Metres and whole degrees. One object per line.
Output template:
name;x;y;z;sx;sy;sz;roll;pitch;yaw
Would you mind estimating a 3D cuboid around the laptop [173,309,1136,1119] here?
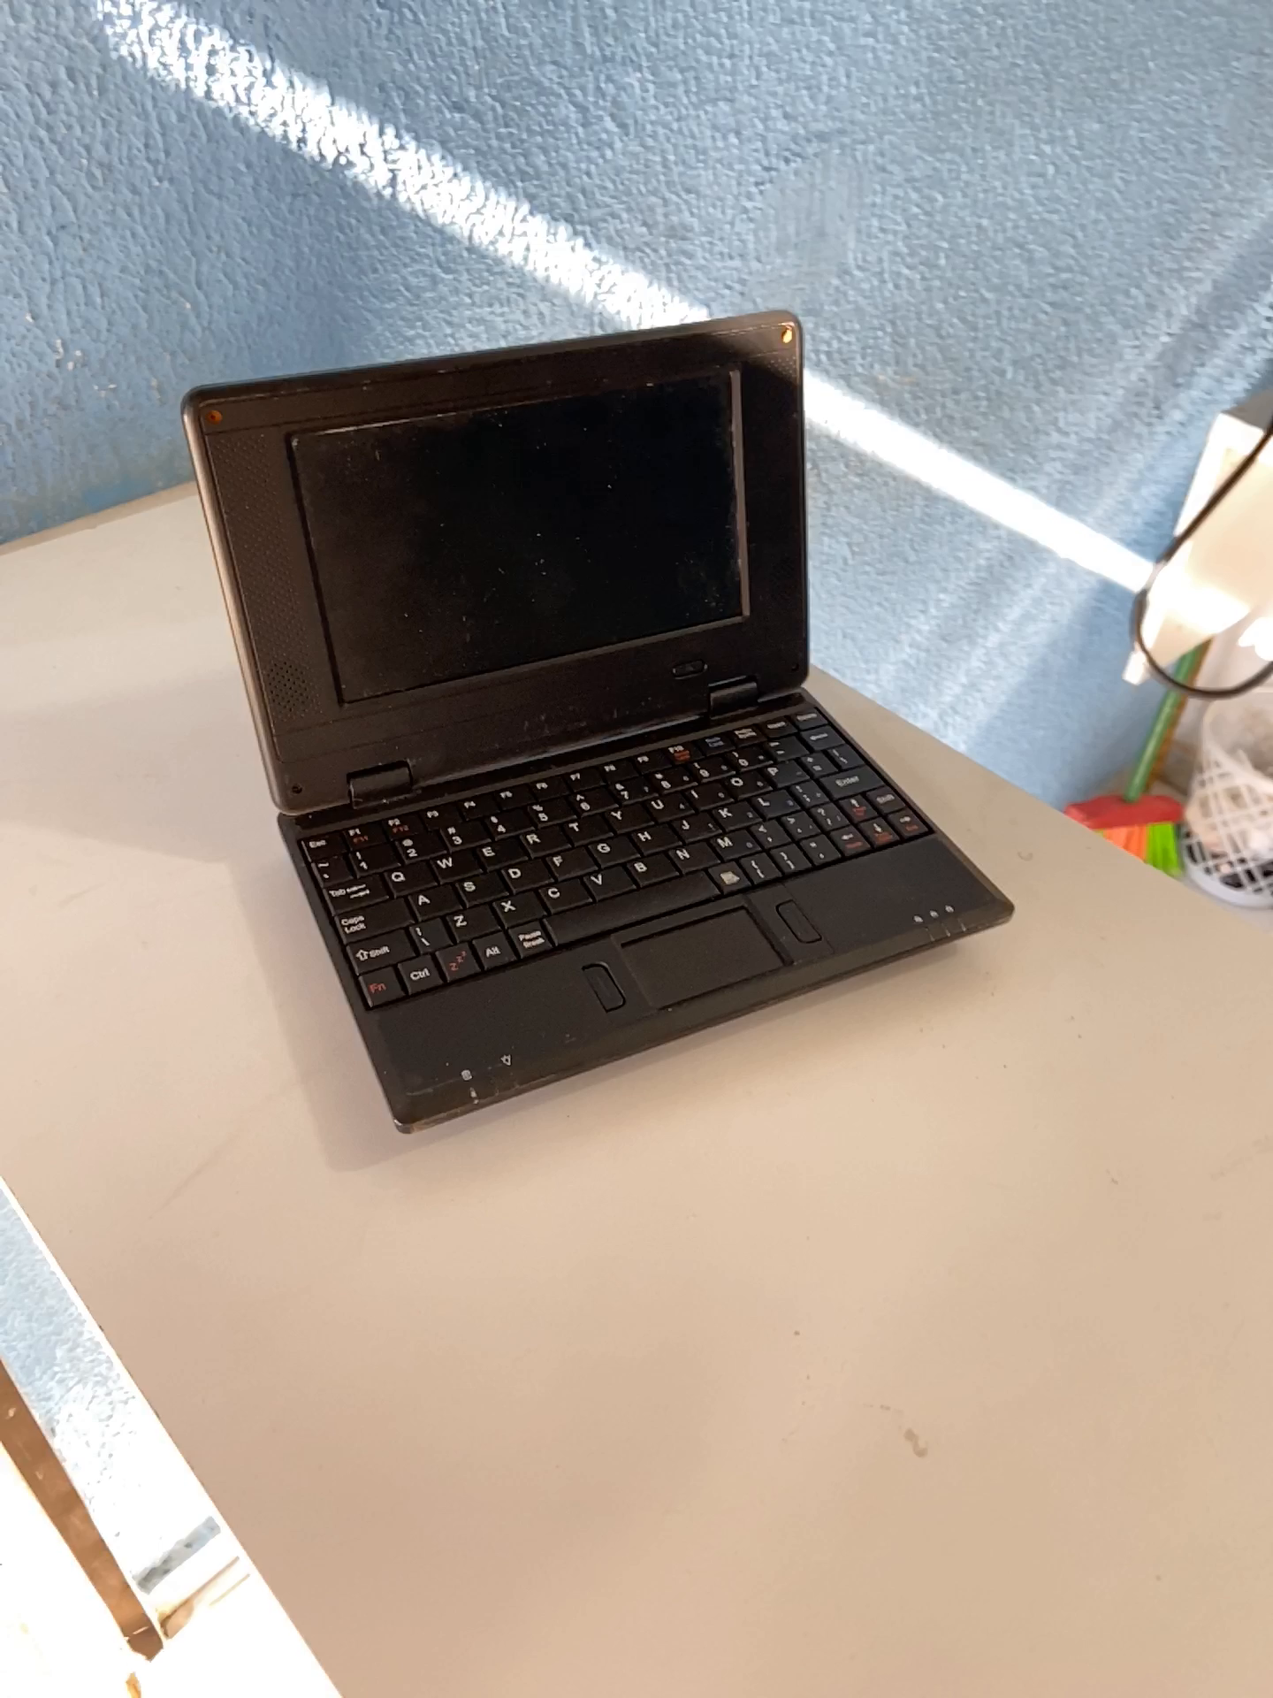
laptop;-0.005;-0.059;0.418;0.216;0.137;0.179;-16;46;-20
